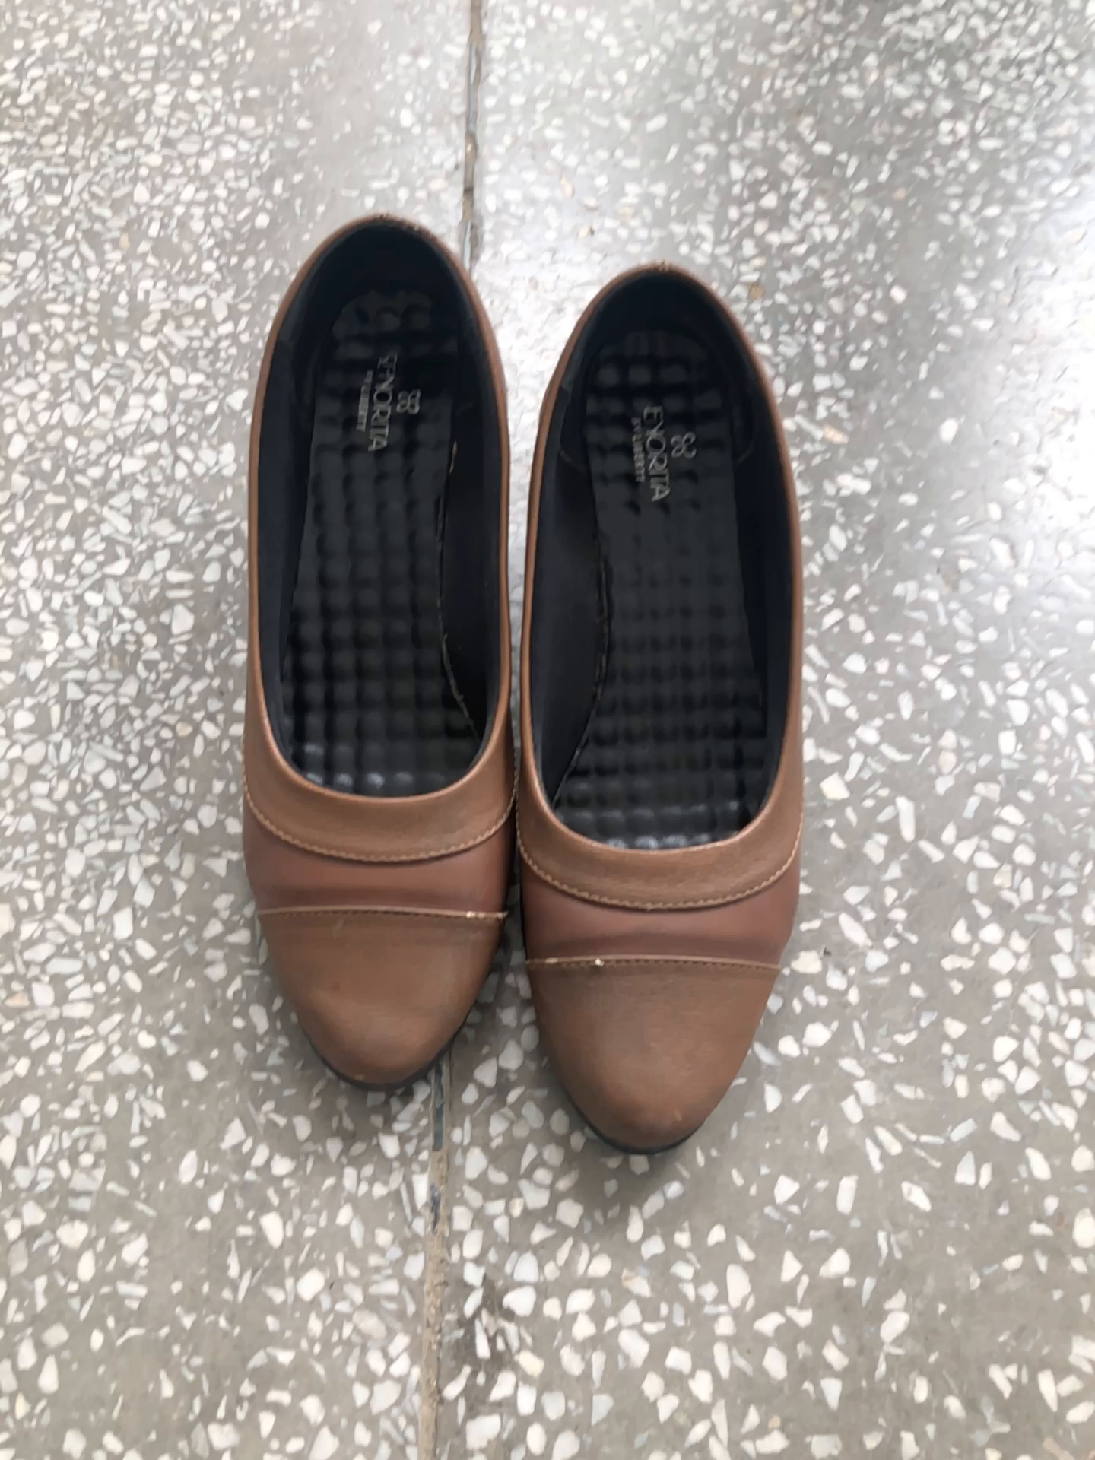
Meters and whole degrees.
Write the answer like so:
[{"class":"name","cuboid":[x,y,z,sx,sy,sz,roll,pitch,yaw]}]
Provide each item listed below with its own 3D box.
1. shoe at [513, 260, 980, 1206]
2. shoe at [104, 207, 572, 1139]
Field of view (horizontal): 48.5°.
[{"class":"shoe","cuboid":[0.041,-0.002,0.334,0.092,0.096,0.241,1,65,0]},{"class":"shoe","cuboid":[-0.042,-0.019,0.344,0.090,0.096,0.244,2,65,1]}]
